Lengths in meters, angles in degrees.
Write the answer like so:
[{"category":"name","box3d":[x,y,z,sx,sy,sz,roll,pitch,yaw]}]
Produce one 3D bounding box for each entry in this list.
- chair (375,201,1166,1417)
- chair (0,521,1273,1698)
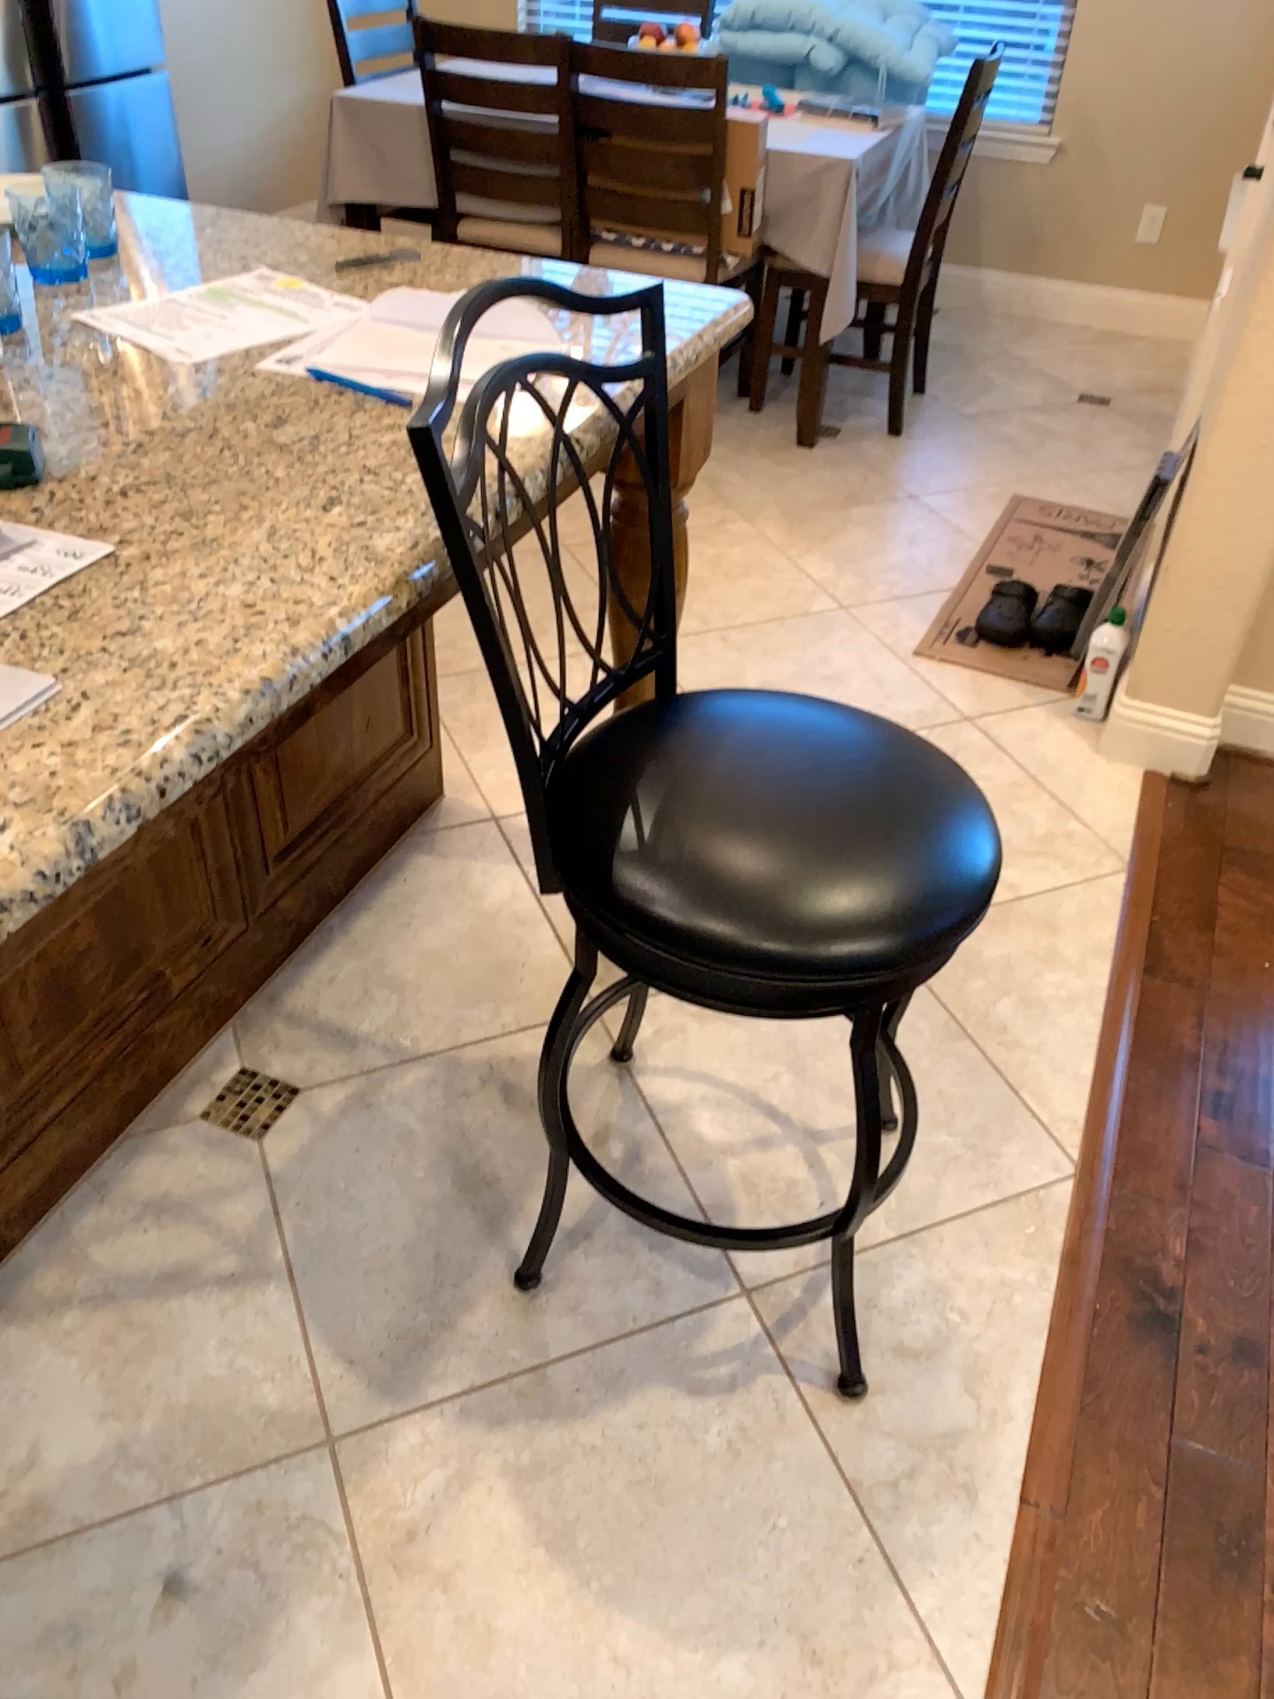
[{"category":"chair","box3d":[0.115,0.003,1.316,0.505,1.068,0.470,13,39,13]},{"category":"chair","box3d":[-0.261,0.553,0.509,0.588,1.098,0.557,18,40,18]}]
